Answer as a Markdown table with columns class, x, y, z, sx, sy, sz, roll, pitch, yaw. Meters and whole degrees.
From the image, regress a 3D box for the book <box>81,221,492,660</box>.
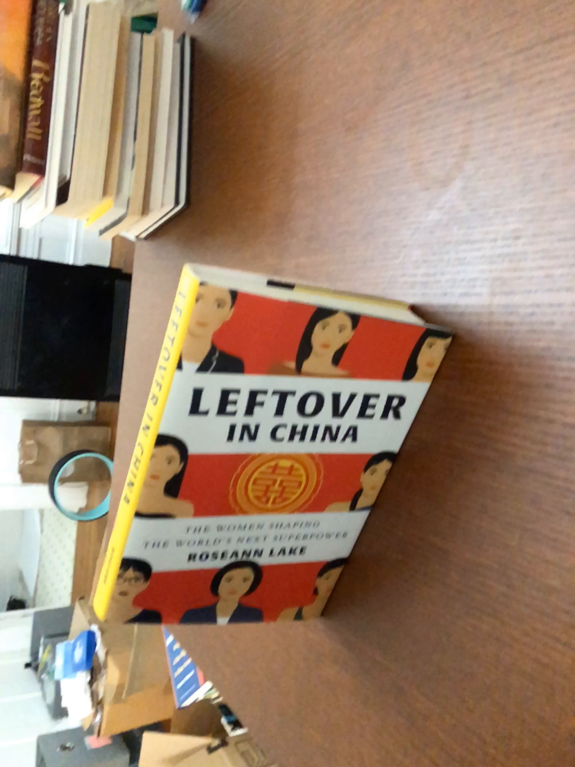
| class | x | y | z | sx | sy | sz | roll | pitch | yaw |
| --- | --- | --- | --- | --- | --- | --- | --- | --- | --- |
| book | -0.010 | 0.049 | 0.401 | 0.060 | 0.179 | 0.260 | 51 | 128 | 48 |
